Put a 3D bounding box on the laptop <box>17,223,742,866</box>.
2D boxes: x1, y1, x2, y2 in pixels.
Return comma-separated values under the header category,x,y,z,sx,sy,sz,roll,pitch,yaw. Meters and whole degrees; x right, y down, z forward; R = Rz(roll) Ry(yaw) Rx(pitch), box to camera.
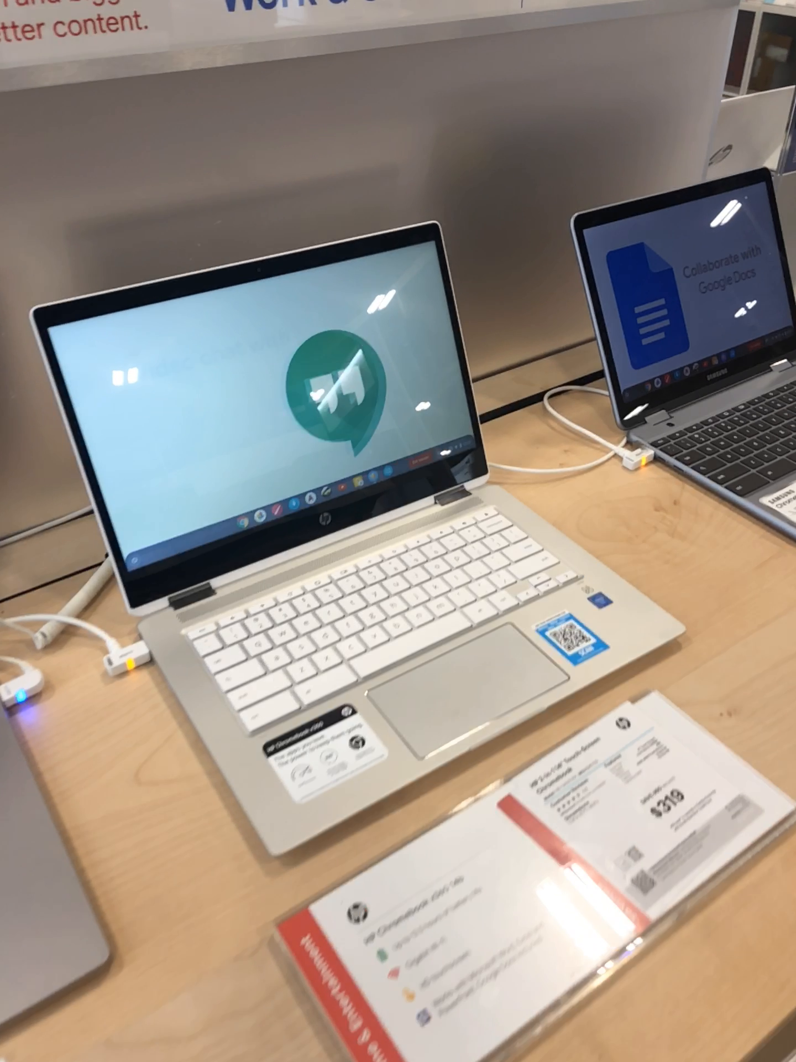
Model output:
category,x,y,z,sx,sy,sz,roll,pitch,yaw
laptop,-0.023,-0.034,0.597,0.324,0.205,0.319,-22,43,-27
